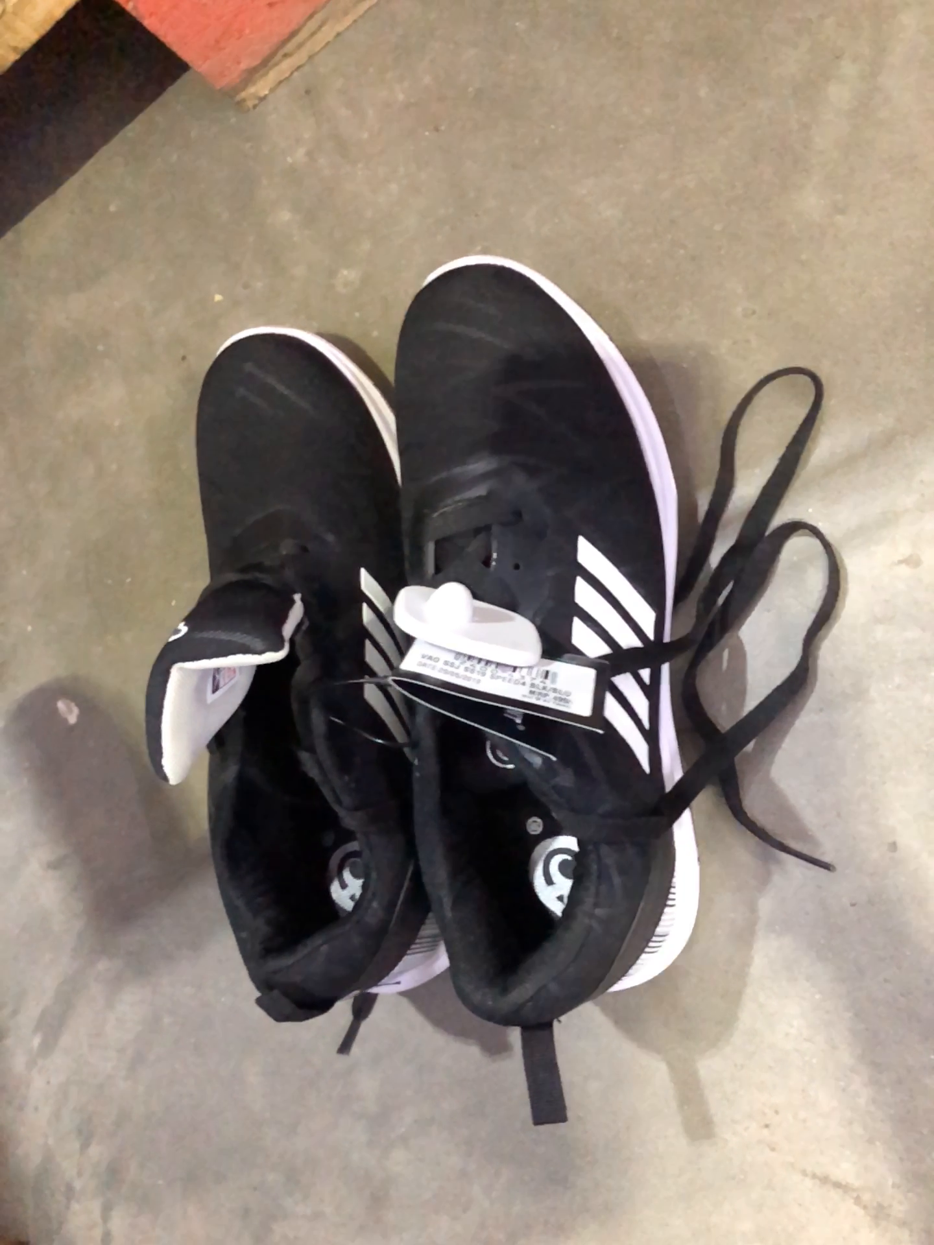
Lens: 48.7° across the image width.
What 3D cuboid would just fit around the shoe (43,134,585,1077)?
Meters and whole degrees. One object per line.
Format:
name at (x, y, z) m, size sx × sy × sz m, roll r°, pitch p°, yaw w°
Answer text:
shoe at (-0.065, -0.005, 0.439) m, size 0.120 × 0.130 × 0.330 m, roll -18°, pitch 76°, yaw 22°

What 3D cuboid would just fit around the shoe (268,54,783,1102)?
shoe at (0.024, -0.011, 0.386) m, size 0.110 × 0.130 × 0.320 m, roll -12°, pitch 79°, yaw 24°
